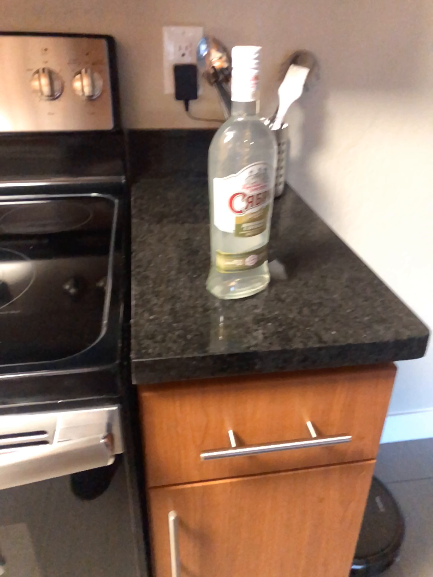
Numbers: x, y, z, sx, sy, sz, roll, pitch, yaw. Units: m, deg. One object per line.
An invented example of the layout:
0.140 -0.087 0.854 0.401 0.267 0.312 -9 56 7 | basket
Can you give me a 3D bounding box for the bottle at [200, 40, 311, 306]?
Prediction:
0.035 -0.122 0.527 0.090 0.269 0.060 -14 31 -26 | bottle
